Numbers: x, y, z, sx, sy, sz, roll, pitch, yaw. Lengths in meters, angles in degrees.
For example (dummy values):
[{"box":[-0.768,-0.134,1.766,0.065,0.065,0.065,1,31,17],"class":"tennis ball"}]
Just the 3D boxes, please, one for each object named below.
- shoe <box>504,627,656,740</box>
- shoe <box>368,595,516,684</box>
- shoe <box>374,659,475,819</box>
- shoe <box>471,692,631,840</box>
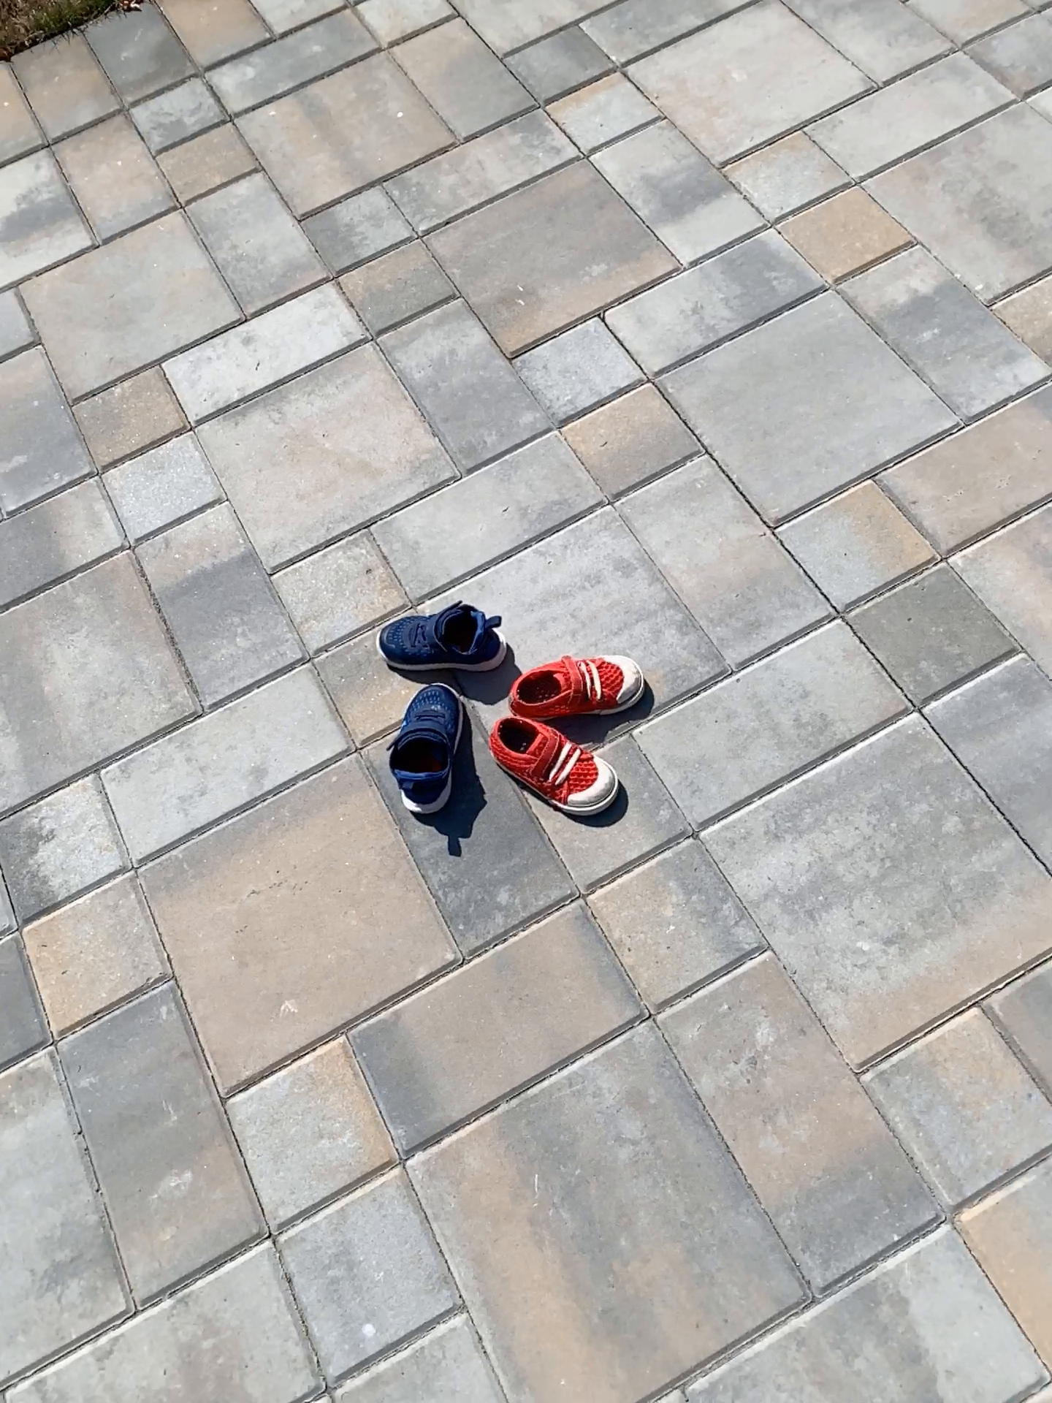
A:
[{"box":[0.063,-0.019,1.242,0.160,0.070,0.080,-11,64,2],"class":"shoe"},{"box":[-0.099,-0.074,1.291,0.160,0.070,0.080,2,65,8],"class":"shoe"},{"box":[-0.113,0.042,1.223,0.080,0.080,0.160,2,66,8],"class":"shoe"},{"box":[0.030,0.073,1.219,0.160,0.070,0.080,30,72,19],"class":"shoe"}]
